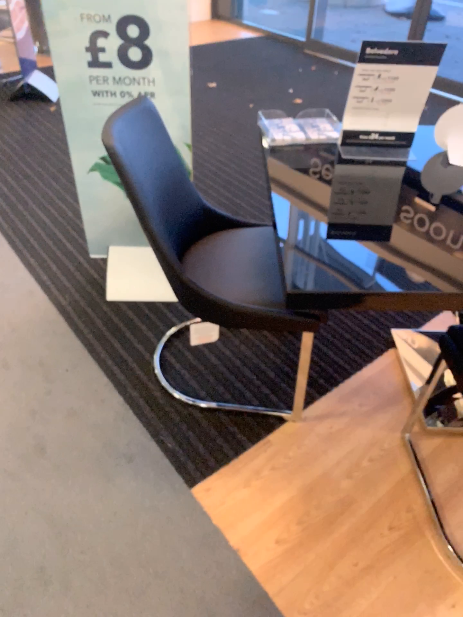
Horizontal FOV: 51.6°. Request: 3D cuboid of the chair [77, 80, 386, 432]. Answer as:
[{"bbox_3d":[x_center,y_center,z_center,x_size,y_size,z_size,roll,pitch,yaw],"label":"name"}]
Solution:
[{"bbox_3d":[0.009,-0.139,1.403,0.609,0.811,0.535,6,41,4],"label":"chair"}]
